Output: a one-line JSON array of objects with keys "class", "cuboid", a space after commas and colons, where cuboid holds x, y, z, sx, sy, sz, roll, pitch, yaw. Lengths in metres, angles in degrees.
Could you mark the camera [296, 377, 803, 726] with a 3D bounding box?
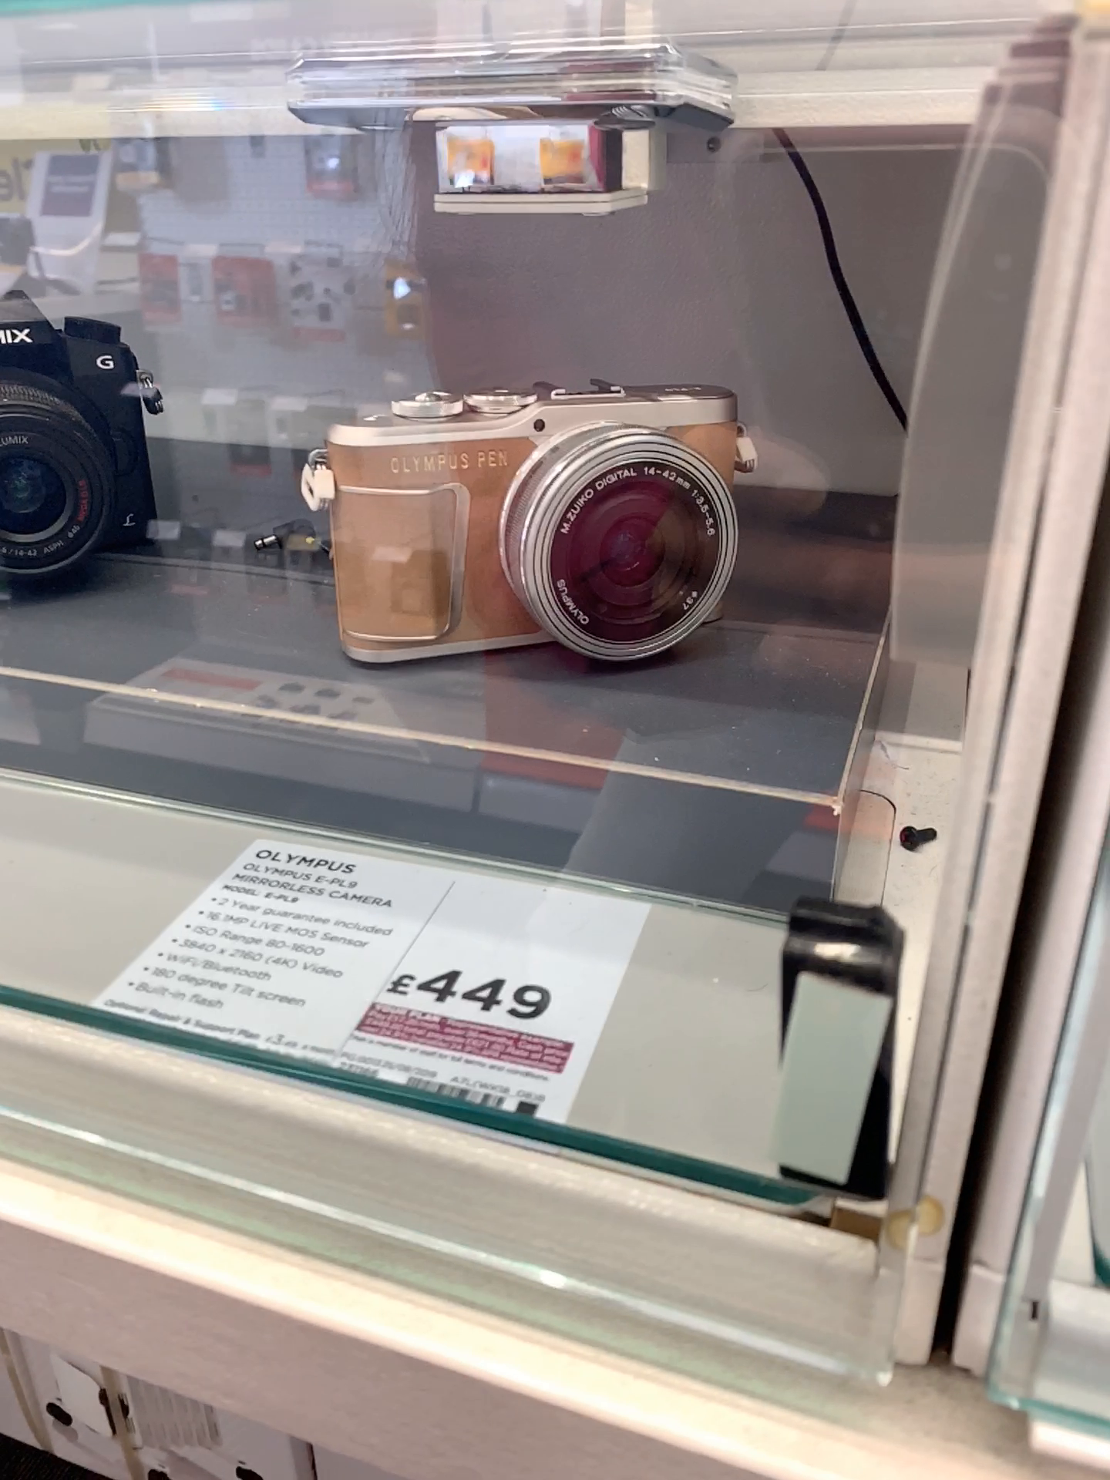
[{"class": "camera", "cuboid": [-0.003, -0.056, 0.315, 0.120, 0.069, 0.060, -9, 26, -17]}]
